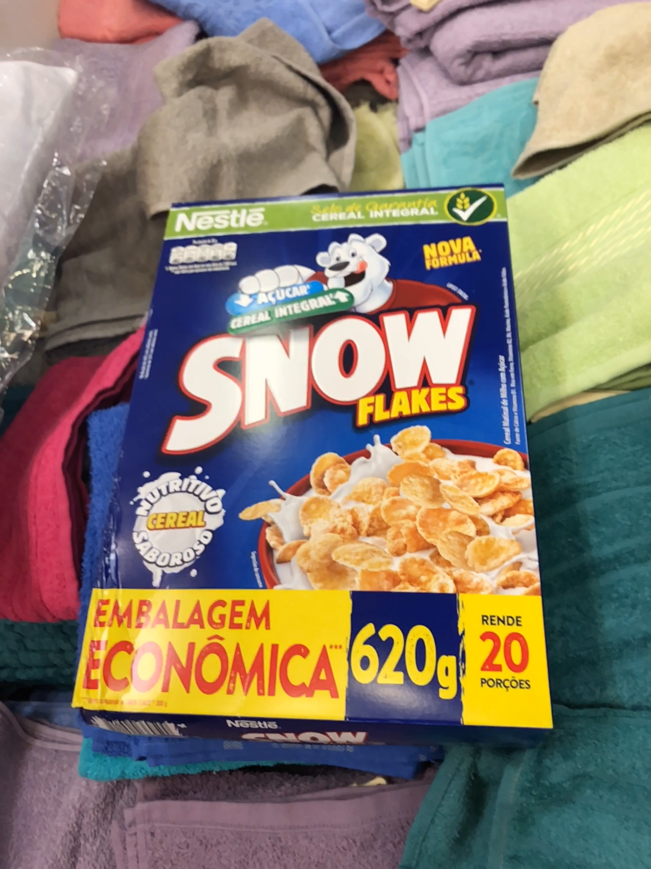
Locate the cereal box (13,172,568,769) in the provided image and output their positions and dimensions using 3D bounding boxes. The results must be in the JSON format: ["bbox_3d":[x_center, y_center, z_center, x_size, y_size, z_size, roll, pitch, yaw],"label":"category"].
[{"bbox_3d":[-0.005,0.002,0.384,0.220,0.070,0.301,-1,60,10],"label":"cereal box"}]
